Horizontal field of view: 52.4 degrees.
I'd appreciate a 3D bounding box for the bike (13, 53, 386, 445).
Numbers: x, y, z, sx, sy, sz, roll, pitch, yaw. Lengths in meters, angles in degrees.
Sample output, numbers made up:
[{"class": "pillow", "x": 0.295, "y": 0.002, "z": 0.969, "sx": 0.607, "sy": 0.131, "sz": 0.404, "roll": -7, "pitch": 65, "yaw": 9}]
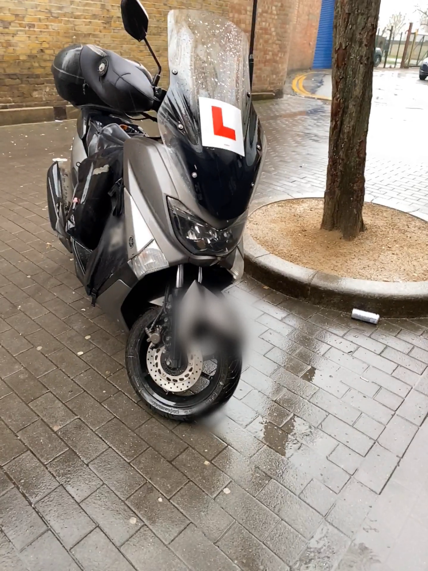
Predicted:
[{"class": "bike", "x": -0.267, "y": -0.399, "z": 2.100, "sx": 0.761, "sy": 1.121, "sz": 1.737, "roll": -16, "pitch": 35, "yaw": -30}]
